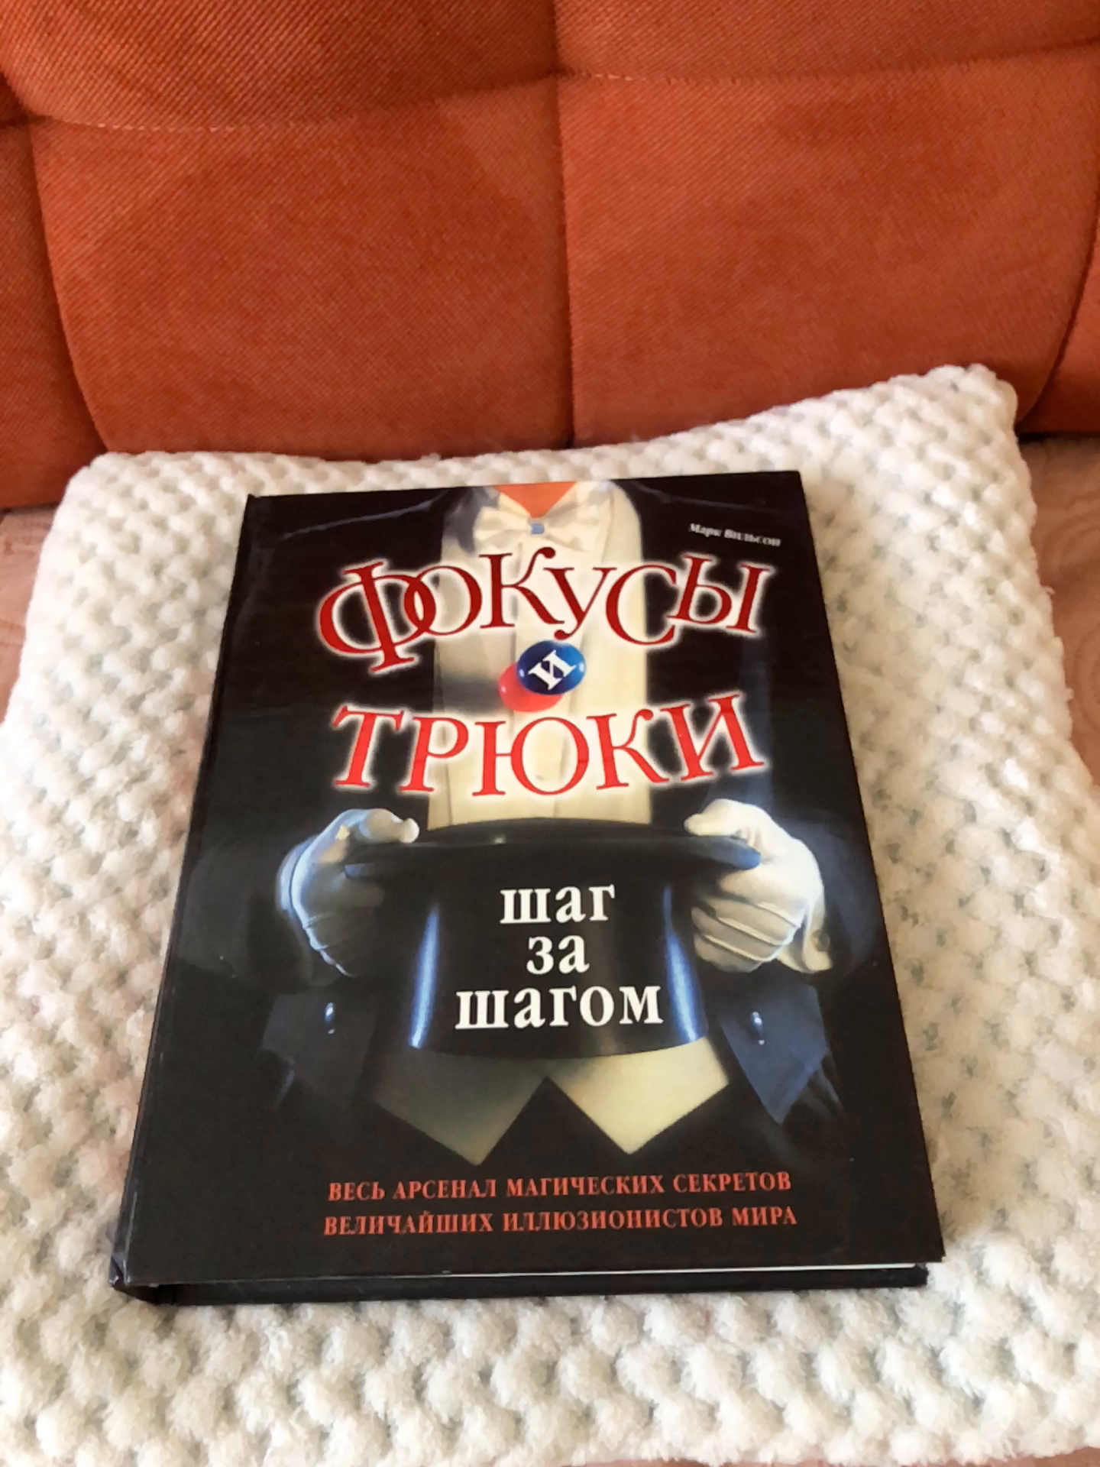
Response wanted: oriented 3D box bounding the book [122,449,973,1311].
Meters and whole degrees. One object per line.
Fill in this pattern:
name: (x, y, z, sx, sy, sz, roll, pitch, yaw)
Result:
book: (-0.004, 0.025, 0.380, 0.200, 0.040, 0.271, -3, 55, 2)
